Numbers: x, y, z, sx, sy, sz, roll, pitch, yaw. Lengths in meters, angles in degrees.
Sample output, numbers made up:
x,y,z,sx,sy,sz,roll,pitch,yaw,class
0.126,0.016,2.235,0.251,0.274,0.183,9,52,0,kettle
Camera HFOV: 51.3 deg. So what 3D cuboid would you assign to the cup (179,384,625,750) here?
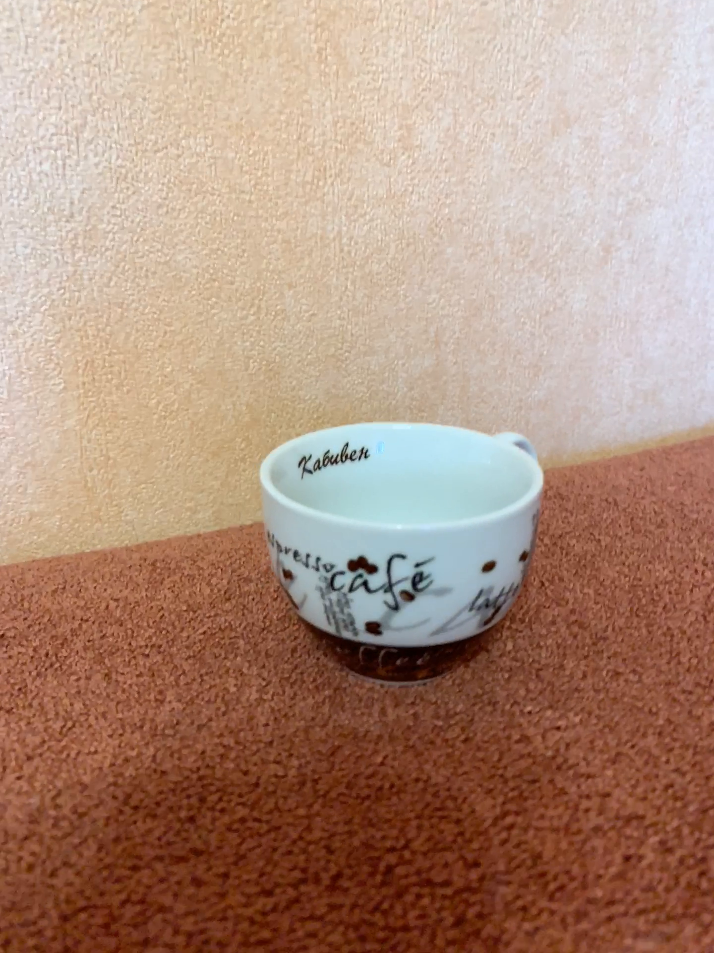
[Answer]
x,y,z,sx,sy,sz,roll,pitch,yaw,class
0.012,0.012,0.181,0.083,0.040,0.065,-23,31,-39,cup
